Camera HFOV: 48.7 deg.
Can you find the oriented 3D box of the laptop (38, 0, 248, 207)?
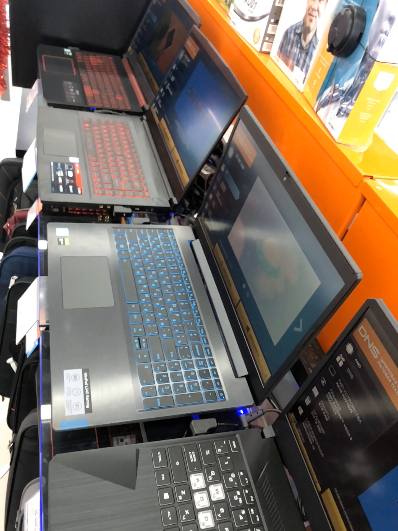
[{"bbox_3d":[-0.141,-0.320,0.859,0.319,0.224,0.357,-1,45,-21],"label":"laptop"}]

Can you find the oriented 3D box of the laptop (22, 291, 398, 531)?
[{"bbox_3d":[0.041,0.237,0.295,0.273,0.244,0.369,1,43,-19],"label":"laptop"}]

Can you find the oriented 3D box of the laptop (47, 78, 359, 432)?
[{"bbox_3d":[-0.047,-0.031,0.567,0.278,0.235,0.358,0,44,-20],"label":"laptop"}]
